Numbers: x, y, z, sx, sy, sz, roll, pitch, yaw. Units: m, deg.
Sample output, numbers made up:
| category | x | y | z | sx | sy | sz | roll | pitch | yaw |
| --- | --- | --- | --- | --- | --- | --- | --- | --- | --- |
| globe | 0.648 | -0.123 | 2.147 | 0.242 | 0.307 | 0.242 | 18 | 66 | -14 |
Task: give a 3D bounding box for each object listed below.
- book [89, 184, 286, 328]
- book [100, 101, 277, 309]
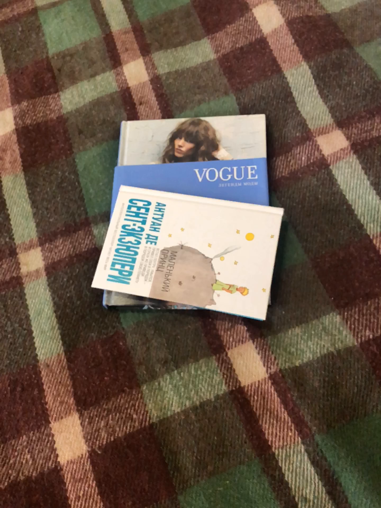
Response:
| category | x | y | z | sx | sy | sz | roll | pitch | yaw |
| --- | --- | --- | --- | --- | --- | --- | --- | --- | --- |
| book | -0.001 | -0.003 | 0.417 | 0.170 | 0.014 | 0.119 | 9 | 70 | 10 |
| book | 0.000 | -0.060 | 0.469 | 0.174 | 0.024 | 0.240 | -1 | 69 | 6 |
